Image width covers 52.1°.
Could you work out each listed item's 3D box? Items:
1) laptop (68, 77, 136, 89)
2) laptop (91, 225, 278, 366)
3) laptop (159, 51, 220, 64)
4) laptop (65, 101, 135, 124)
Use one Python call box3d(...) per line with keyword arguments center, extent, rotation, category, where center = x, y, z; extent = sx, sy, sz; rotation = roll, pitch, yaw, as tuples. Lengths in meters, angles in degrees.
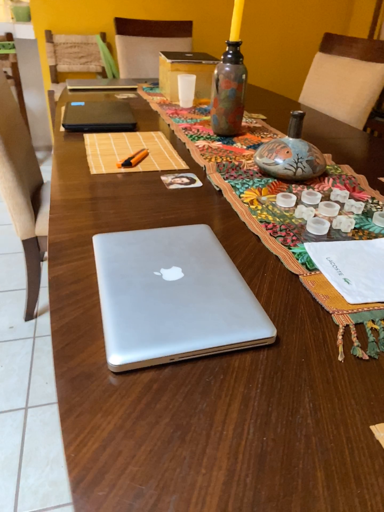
box3d(center=(-0.519, -0.982, 2.226), extent=(0.343, 0.004, 0.321), rotation=(-9, 34, -17), category="laptop")
box3d(center=(-0.037, 0.036, 0.641), extent=(0.232, 0.002, 0.325), rotation=(-7, 33, -14), category="laptop")
box3d(center=(-0.020, -0.914, 1.807), extent=(0.214, 0.011, 0.310), rotation=(-6, 35, -9), category="laptop")
box3d(center=(-0.374, -0.580, 1.579), extent=(0.254, 0.012, 0.303), rotation=(-4, 35, -15), category="laptop")
